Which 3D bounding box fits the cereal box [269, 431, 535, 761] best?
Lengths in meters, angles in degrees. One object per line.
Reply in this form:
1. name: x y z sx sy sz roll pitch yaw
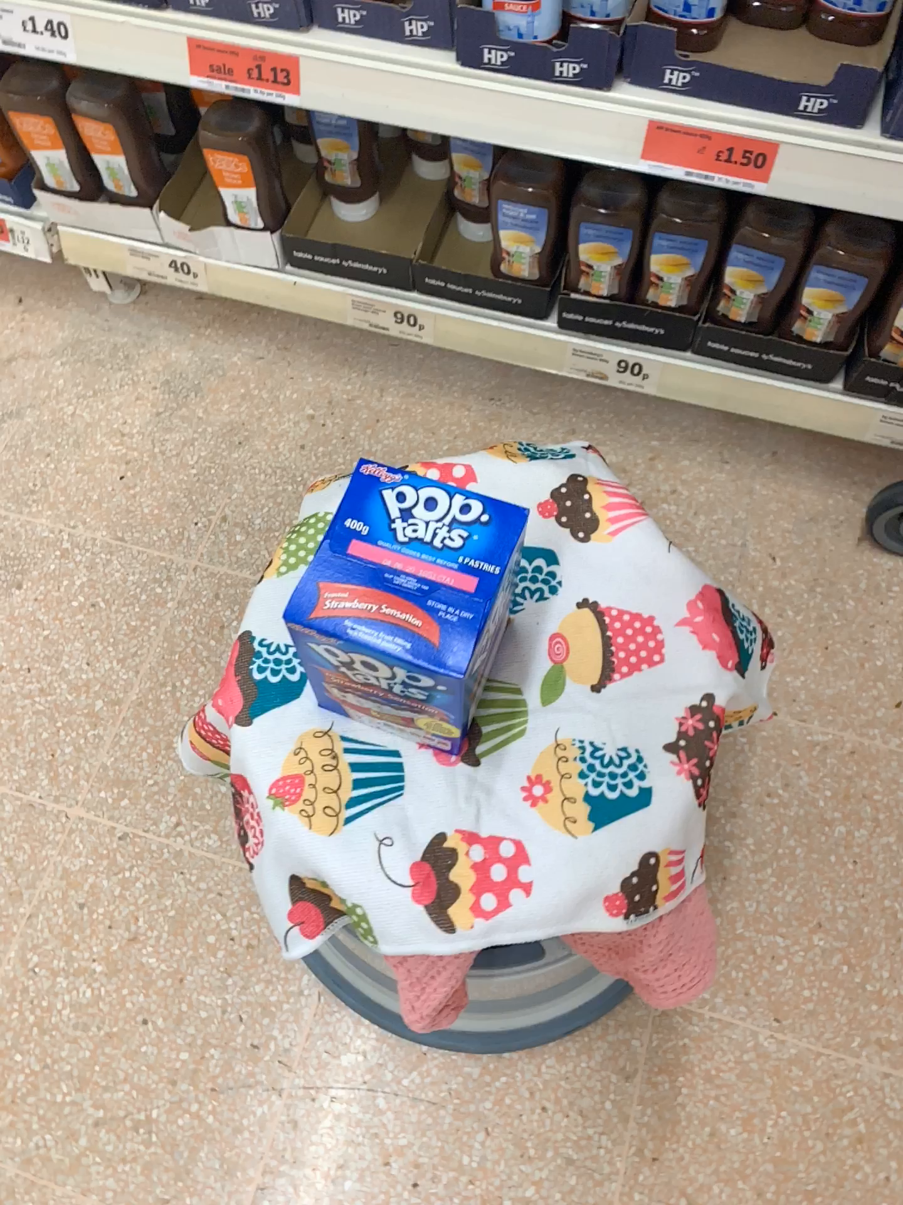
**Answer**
1. cereal box: -0.019 0.003 0.485 0.090 0.139 0.100 19 67 10
